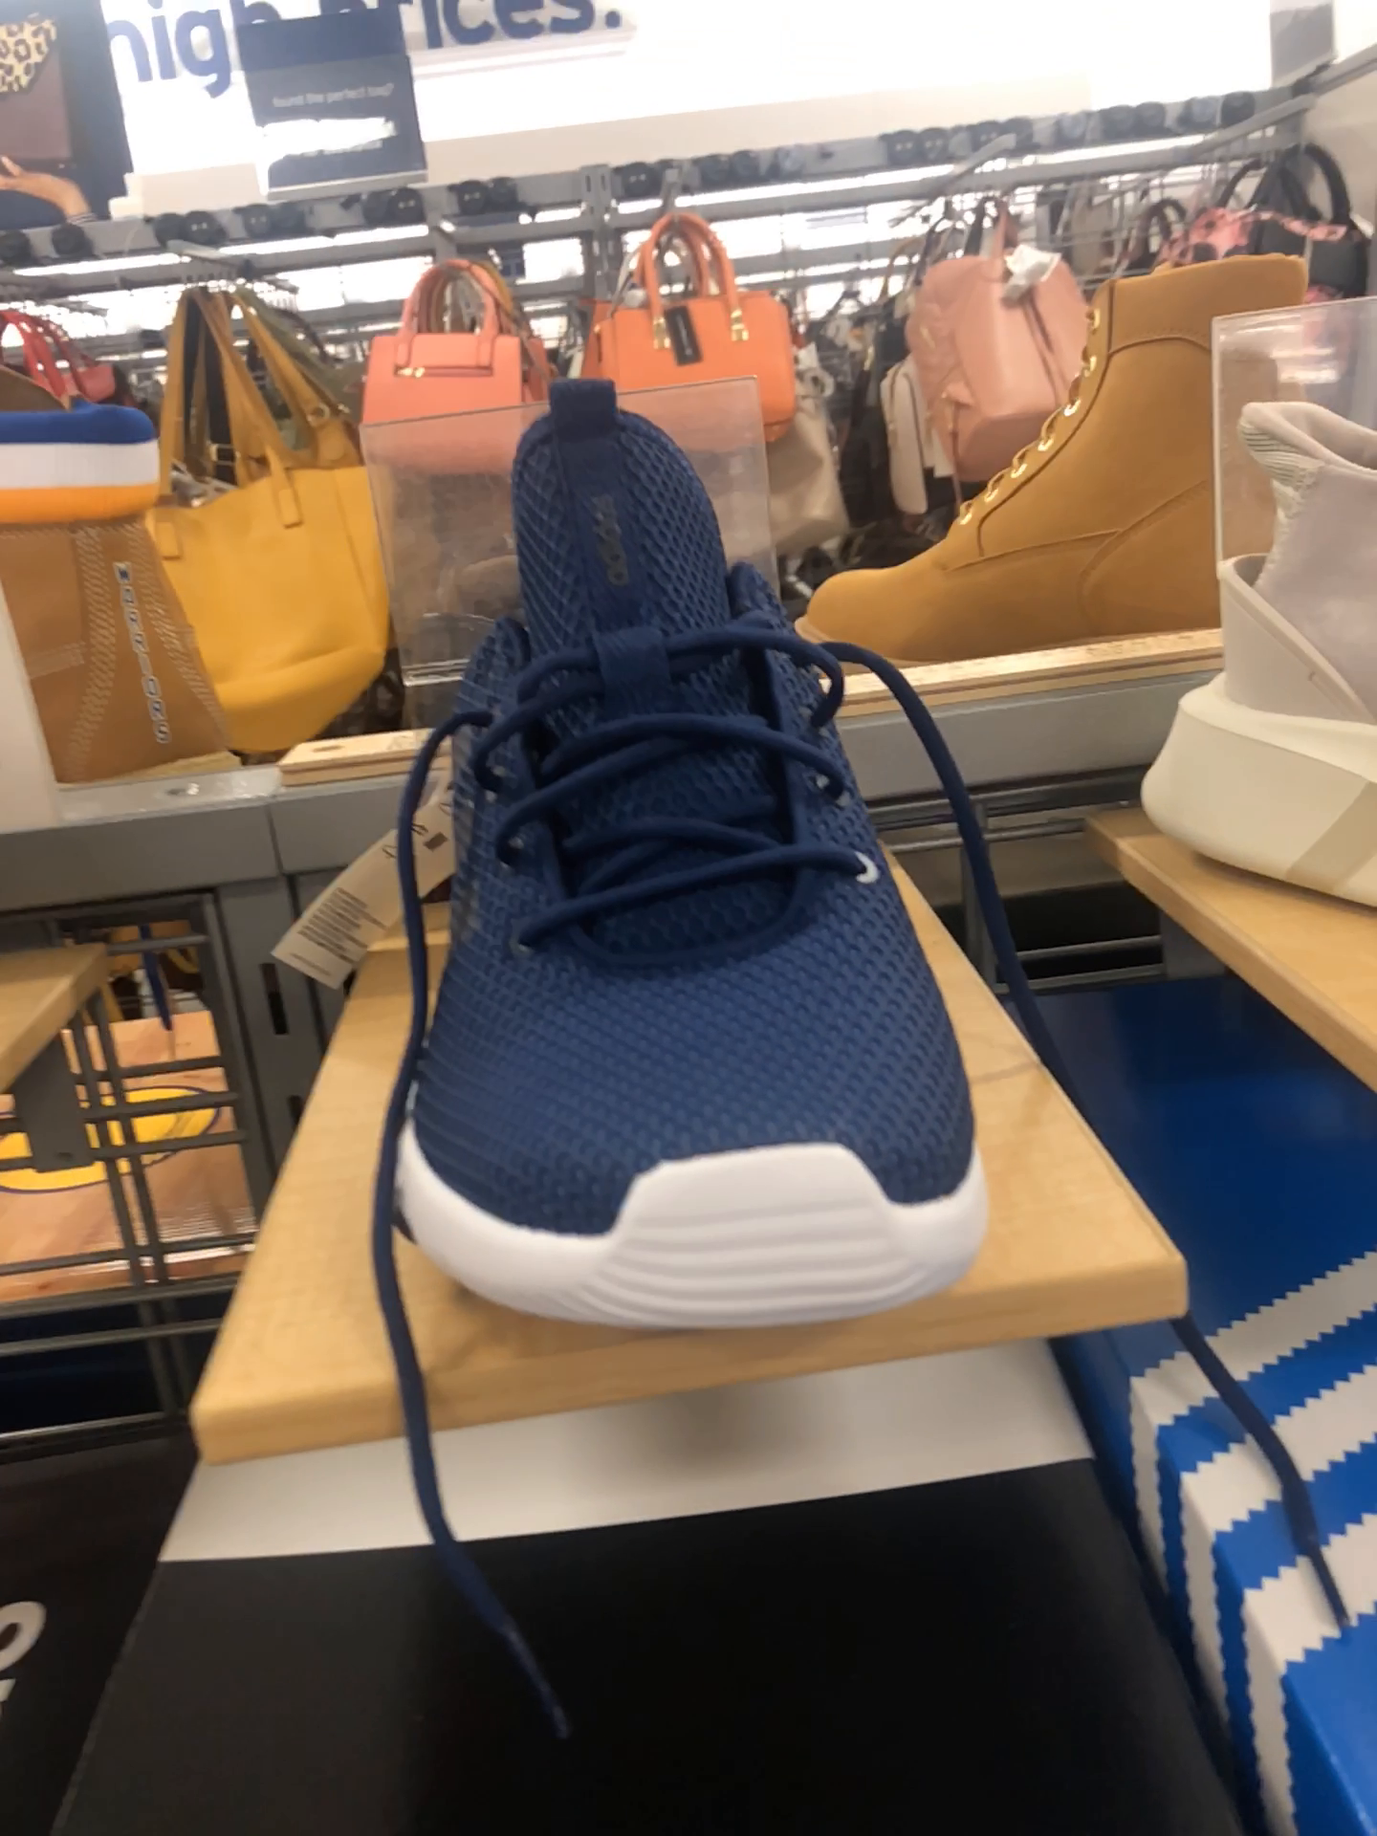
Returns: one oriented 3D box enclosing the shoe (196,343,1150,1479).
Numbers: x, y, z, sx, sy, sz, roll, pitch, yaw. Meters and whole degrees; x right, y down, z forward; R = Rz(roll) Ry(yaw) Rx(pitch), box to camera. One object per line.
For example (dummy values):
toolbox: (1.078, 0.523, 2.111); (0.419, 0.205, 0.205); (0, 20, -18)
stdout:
shoe: (-0.003, -0.039, 0.349); (0.112, 0.145, 0.305); (-7, 17, -1)
